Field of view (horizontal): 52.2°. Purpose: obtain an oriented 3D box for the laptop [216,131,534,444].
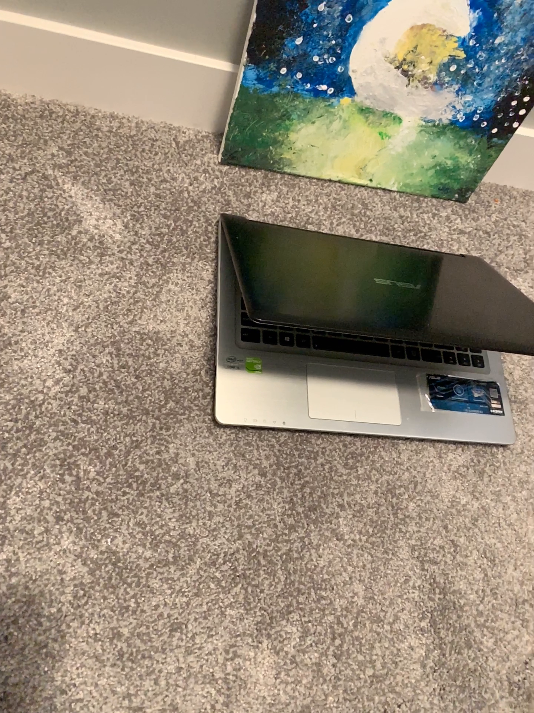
[{"bbox_3d":[0.136,-0.058,0.580,0.355,0.134,0.253,6,65,-15],"label":"laptop"}]
